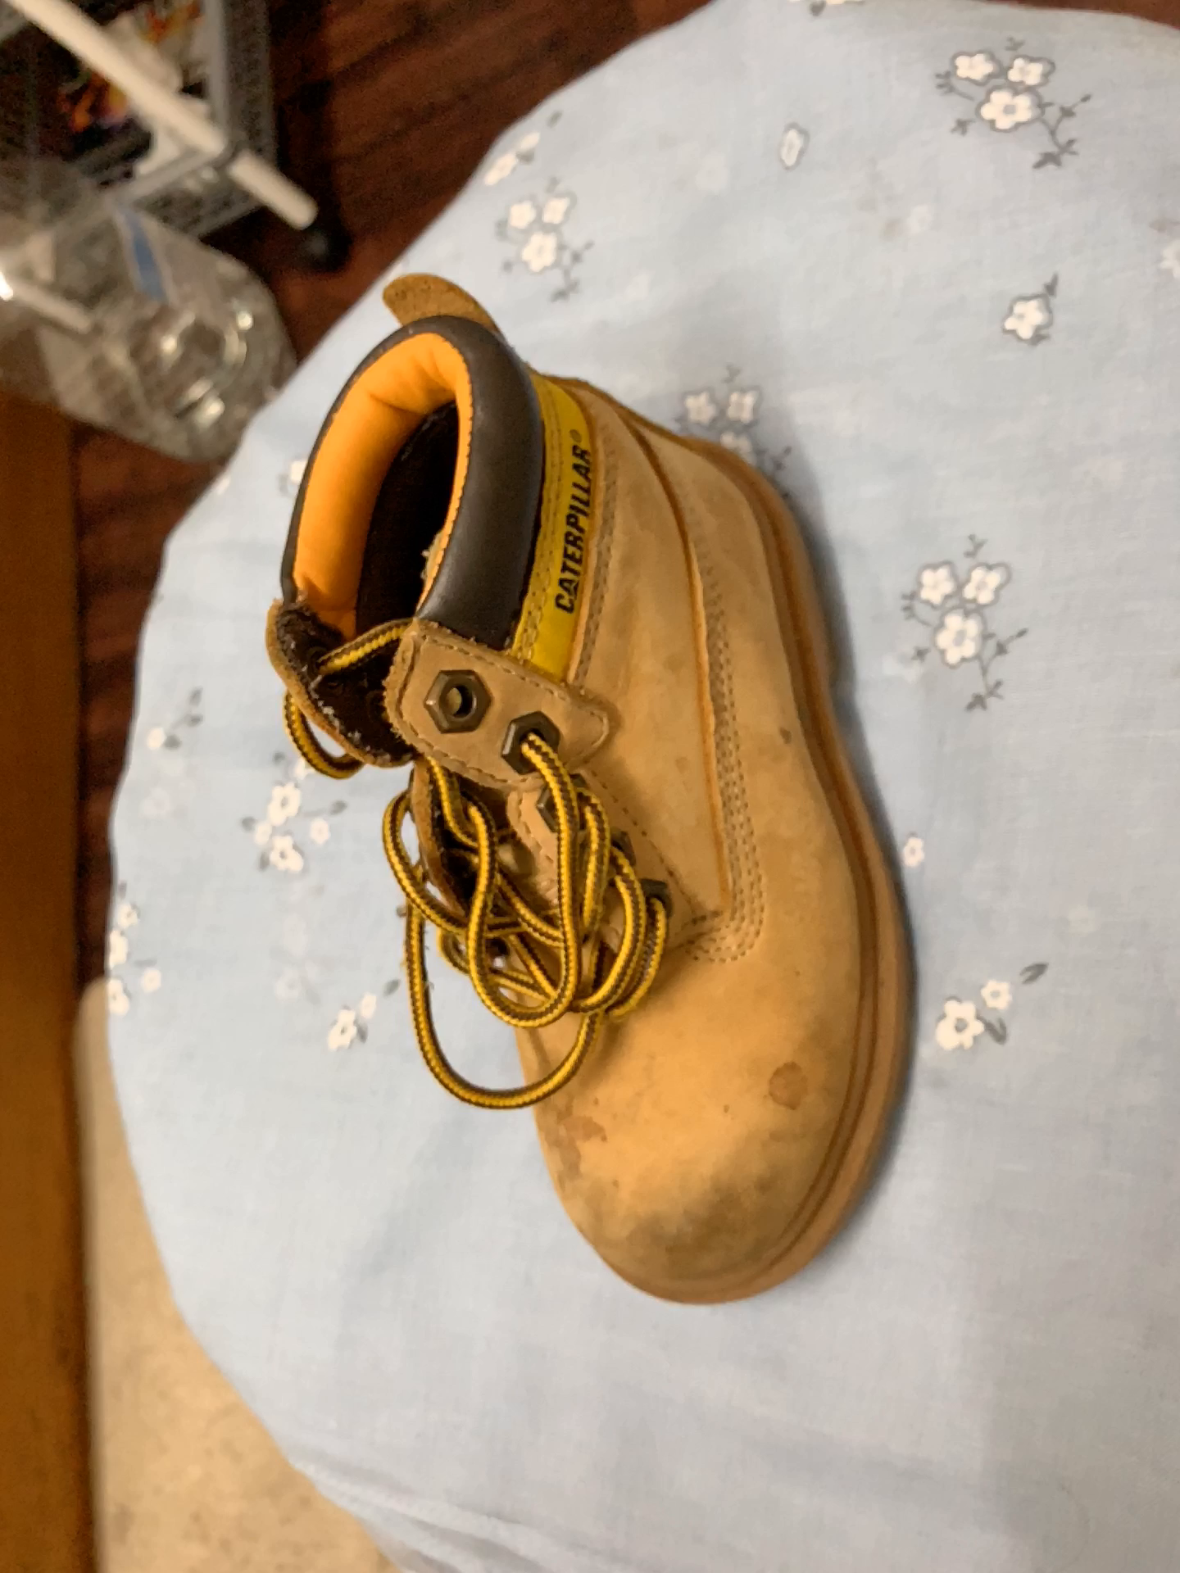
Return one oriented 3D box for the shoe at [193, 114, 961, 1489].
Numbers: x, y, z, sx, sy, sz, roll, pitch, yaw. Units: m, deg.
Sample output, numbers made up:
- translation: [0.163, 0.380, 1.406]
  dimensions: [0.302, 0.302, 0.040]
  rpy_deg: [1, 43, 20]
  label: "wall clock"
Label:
- translation: [0.002, 0.006, 0.243]
  dimensions: [0.095, 0.120, 0.190]
  rpy_deg: [-8, 79, 27]
  label: "shoe"
